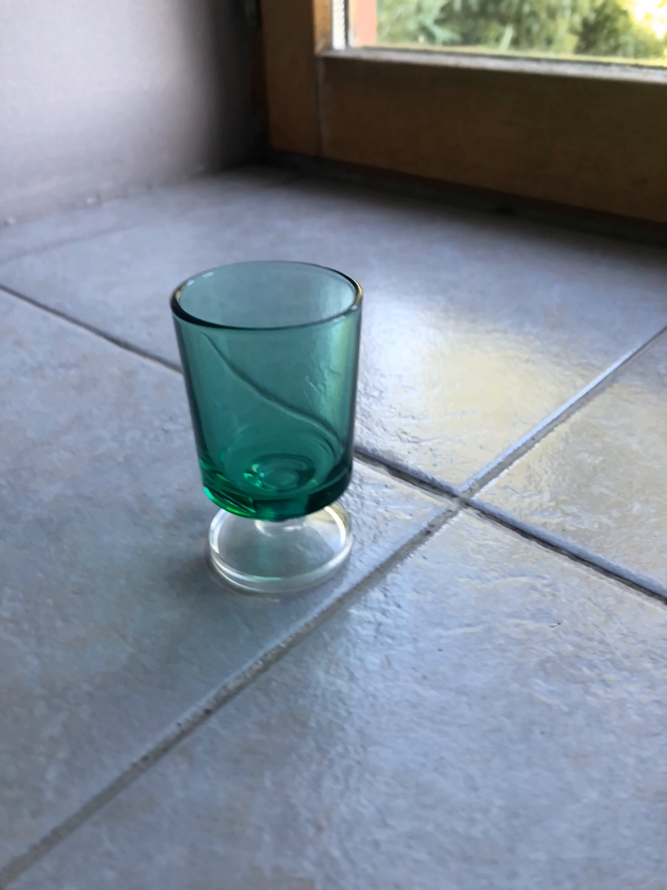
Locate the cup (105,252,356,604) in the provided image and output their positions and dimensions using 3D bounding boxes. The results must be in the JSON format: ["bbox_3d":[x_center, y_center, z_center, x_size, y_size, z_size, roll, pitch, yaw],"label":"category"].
[{"bbox_3d":[-0.018,-0.004,0.173,0.045,0.068,0.044,-1,34,1],"label":"cup"}]
